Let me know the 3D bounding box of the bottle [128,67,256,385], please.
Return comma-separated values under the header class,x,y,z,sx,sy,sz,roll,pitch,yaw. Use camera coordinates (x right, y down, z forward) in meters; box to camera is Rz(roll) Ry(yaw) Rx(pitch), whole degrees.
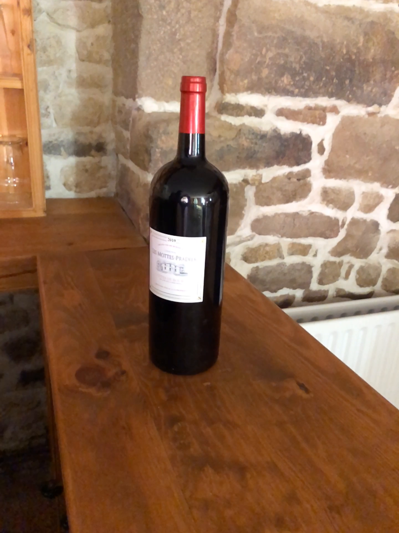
class,x,y,z,sx,sy,sz,roll,pitch,yaw
bottle,-0.015,-0.045,0.532,0.100,0.348,0.101,4,21,-1
